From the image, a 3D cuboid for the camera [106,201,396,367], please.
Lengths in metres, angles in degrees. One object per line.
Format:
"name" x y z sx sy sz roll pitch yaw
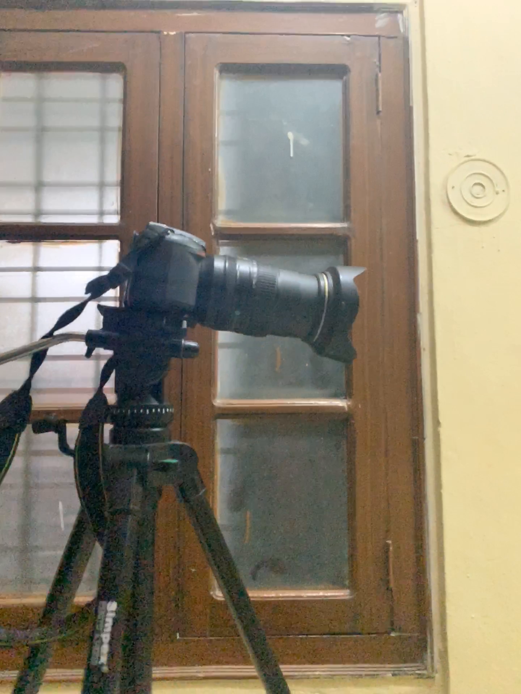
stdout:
"camera" -0.012 -0.057 0.573 0.270 0.120 0.130 7 -6 -7
